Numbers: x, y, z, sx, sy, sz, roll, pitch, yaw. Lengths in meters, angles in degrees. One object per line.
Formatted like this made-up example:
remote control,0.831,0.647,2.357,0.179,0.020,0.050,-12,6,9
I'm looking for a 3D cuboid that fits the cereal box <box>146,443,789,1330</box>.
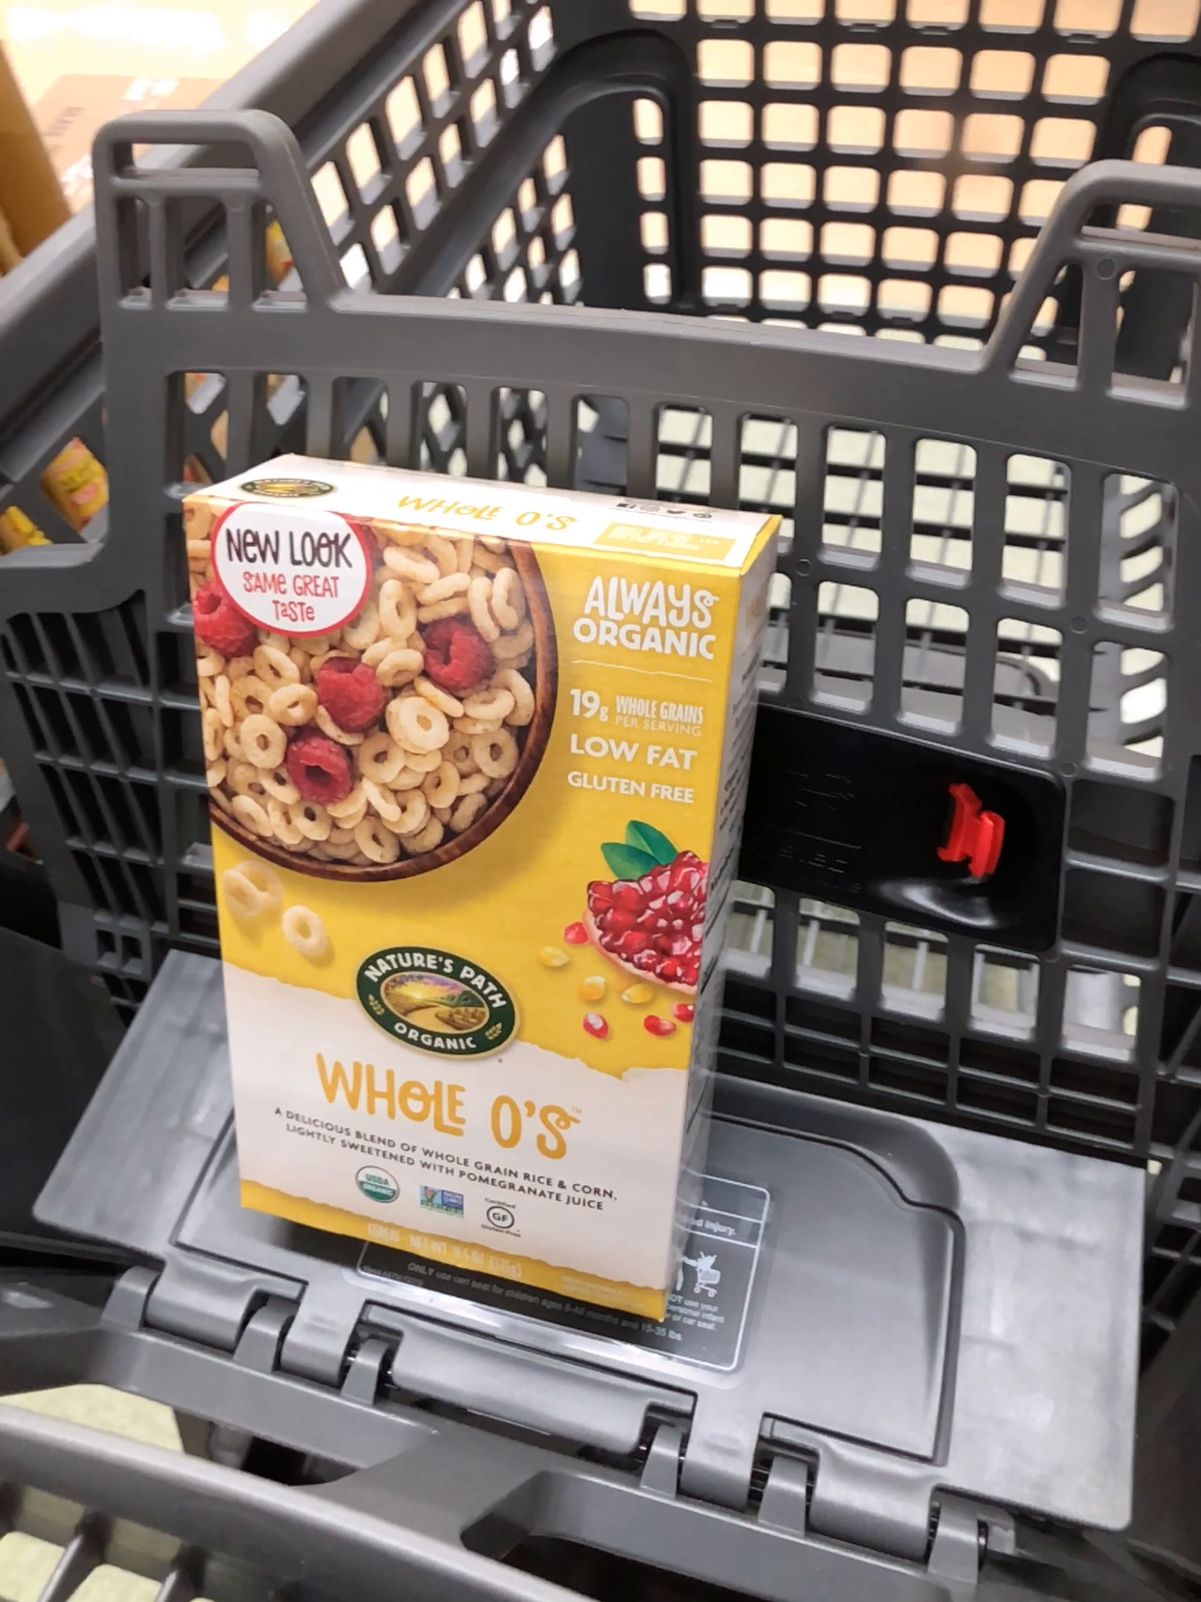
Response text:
cereal box,-0.040,0.030,0.411,0.160,0.250,0.060,10,27,14
